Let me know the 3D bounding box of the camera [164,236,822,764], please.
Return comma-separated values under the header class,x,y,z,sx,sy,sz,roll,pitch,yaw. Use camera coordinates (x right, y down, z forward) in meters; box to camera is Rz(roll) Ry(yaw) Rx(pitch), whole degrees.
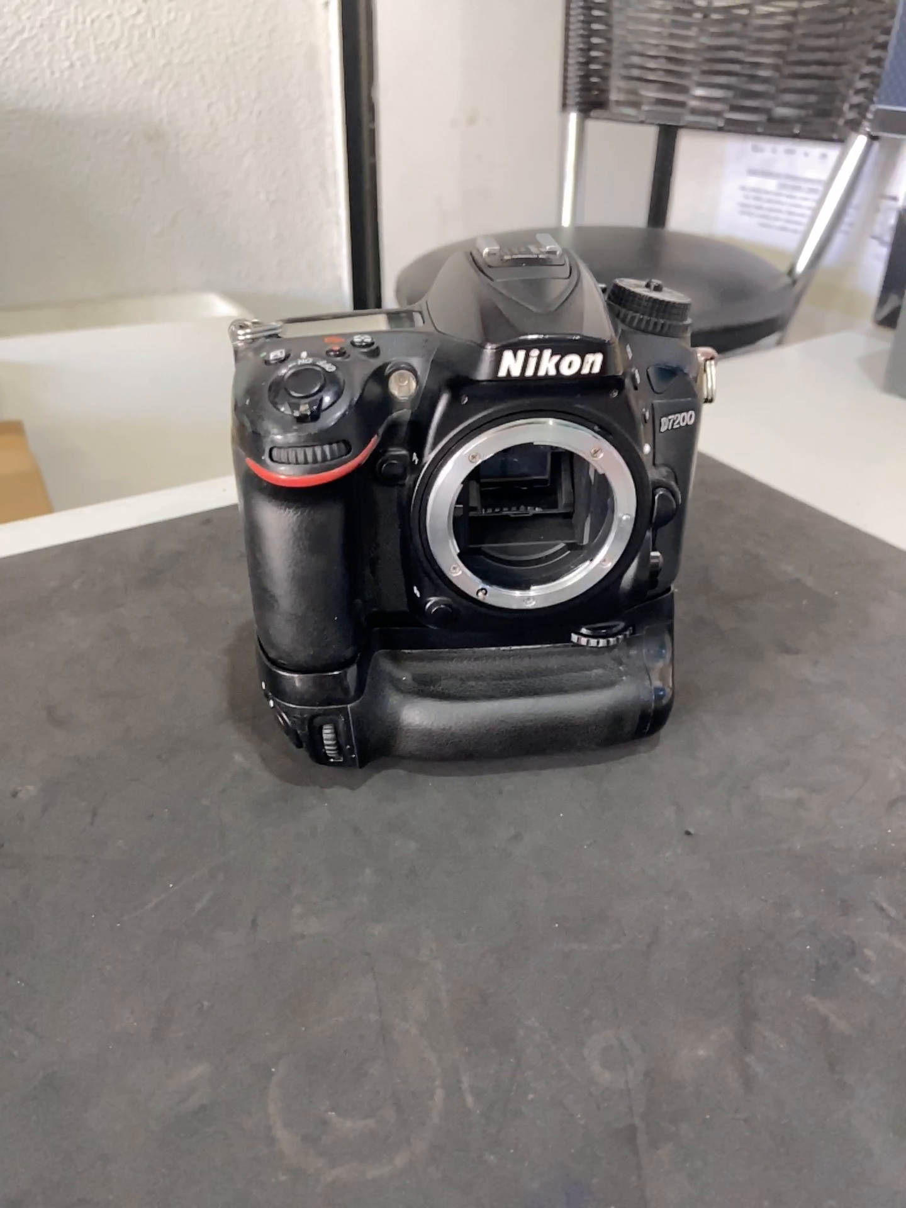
class,x,y,z,sx,sy,sz,roll,pitch,yaw
camera,0.006,-0.036,0.269,0.140,0.109,0.101,-4,32,-5
